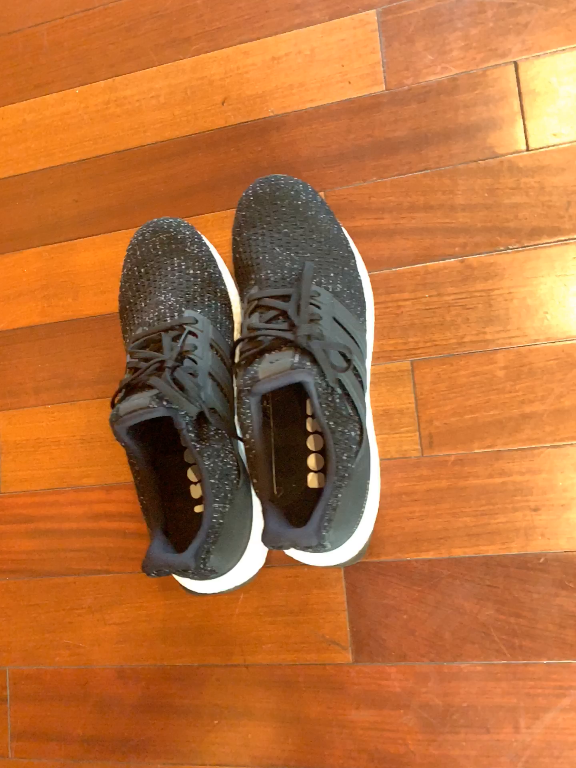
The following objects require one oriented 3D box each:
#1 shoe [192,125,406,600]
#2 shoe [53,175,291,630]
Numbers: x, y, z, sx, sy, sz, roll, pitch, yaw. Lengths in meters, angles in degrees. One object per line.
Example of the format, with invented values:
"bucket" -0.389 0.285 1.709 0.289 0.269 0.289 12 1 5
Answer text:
"shoe" 0.011 -0.011 0.417 0.110 0.100 0.290 -6 82 13
"shoe" -0.086 0.014 0.455 0.110 0.100 0.300 -12 81 12
